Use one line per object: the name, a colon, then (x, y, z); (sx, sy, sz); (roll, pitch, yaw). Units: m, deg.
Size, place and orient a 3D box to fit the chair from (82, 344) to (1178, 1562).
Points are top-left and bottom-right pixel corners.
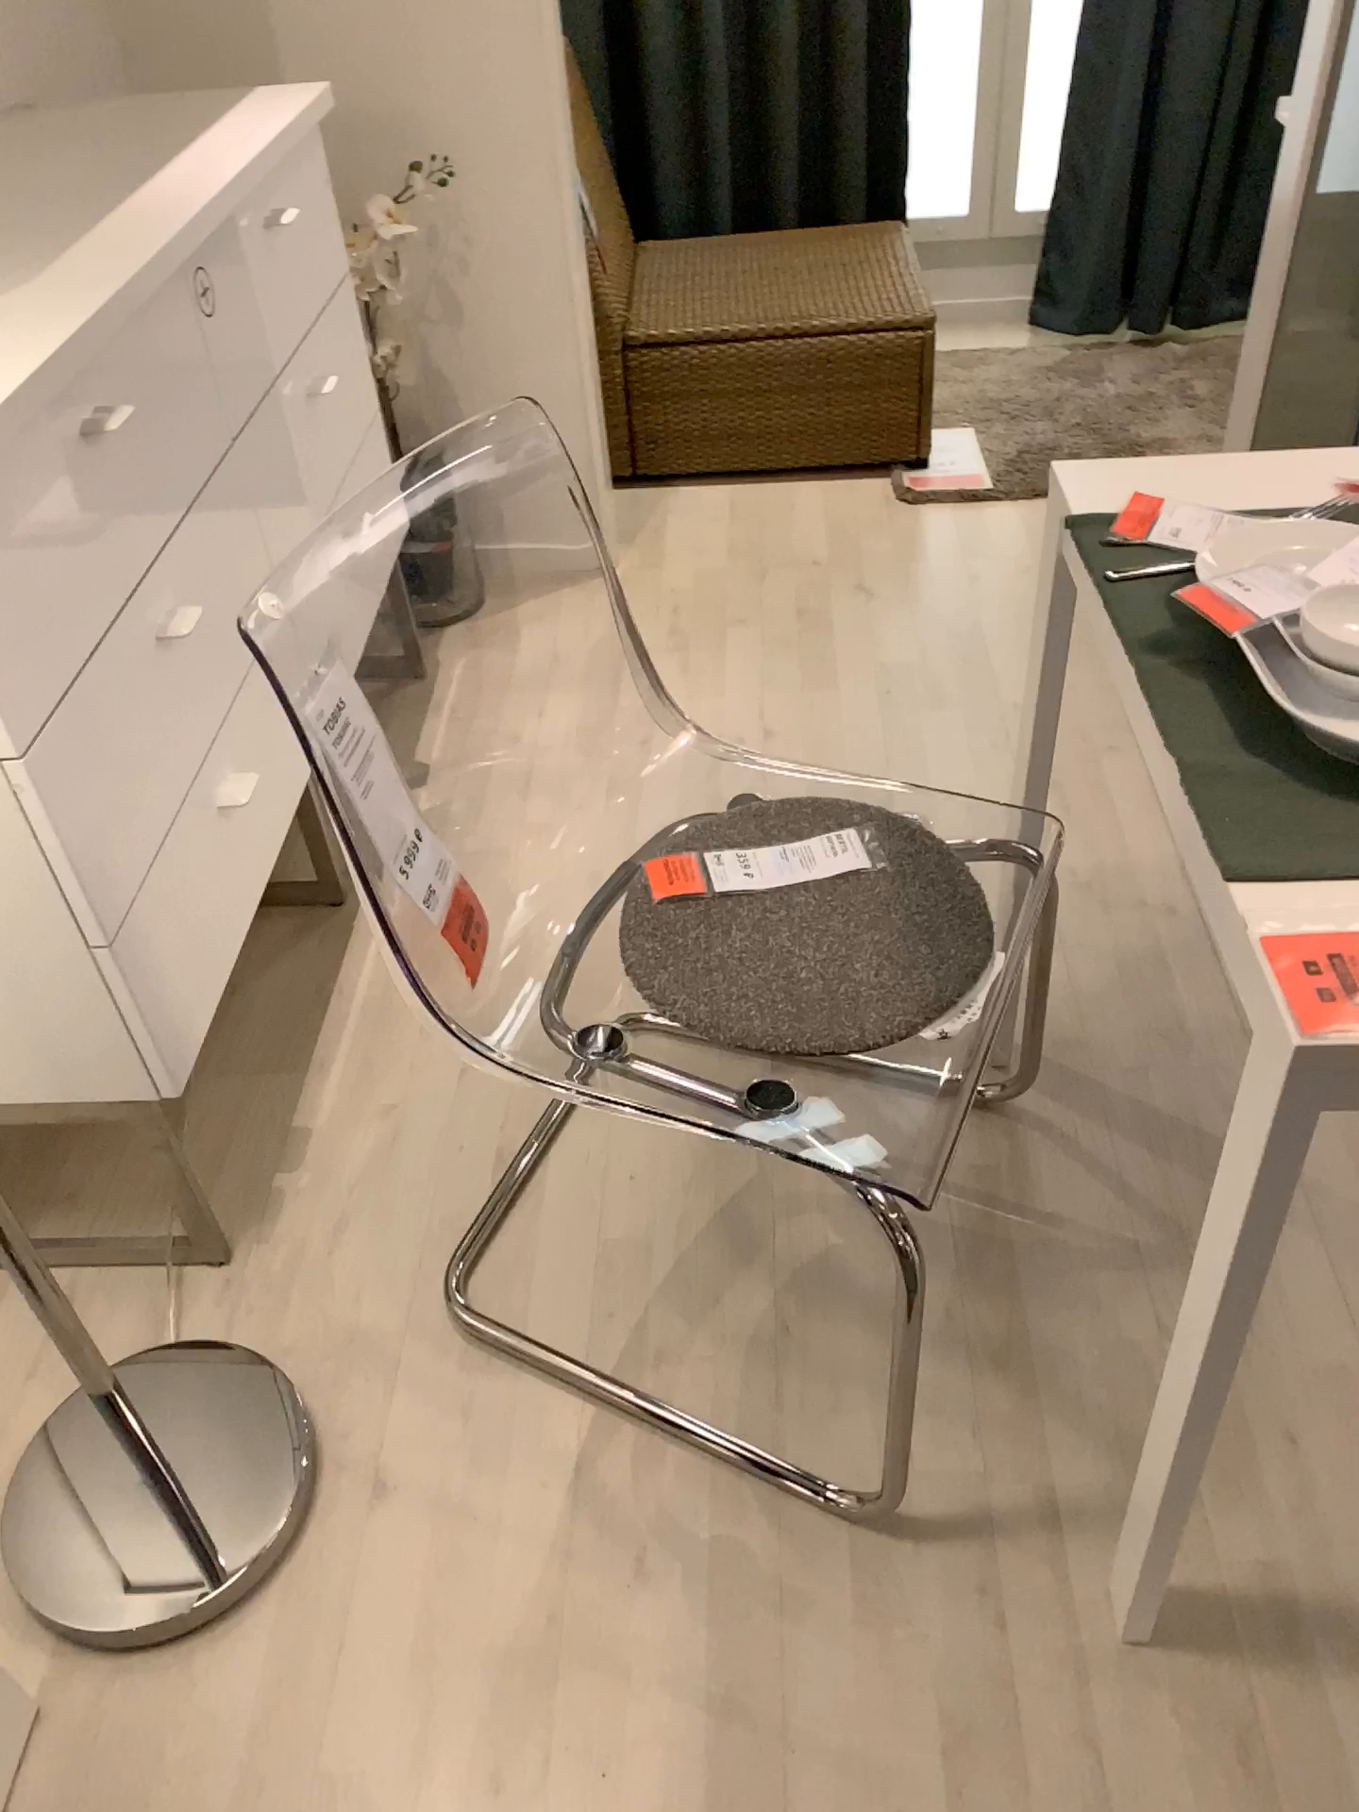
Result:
chair: (0.029, 0.023, 1.253); (0.592, 0.791, 0.593); (14, 44, 20)
